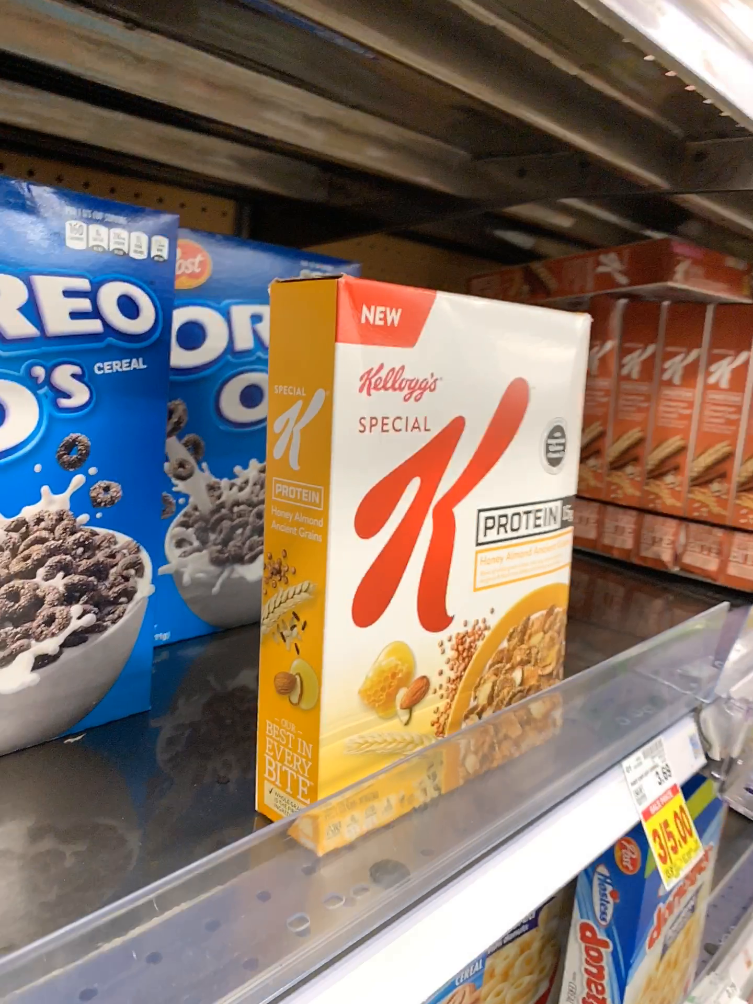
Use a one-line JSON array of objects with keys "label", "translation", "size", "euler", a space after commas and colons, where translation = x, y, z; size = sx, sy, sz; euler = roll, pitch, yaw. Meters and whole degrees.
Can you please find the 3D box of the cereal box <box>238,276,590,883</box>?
[{"label": "cereal box", "translation": [0.027, 0.027, 0.396], "size": [0.200, 0.249, 0.040], "euler": [-6, 12, -44]}]
